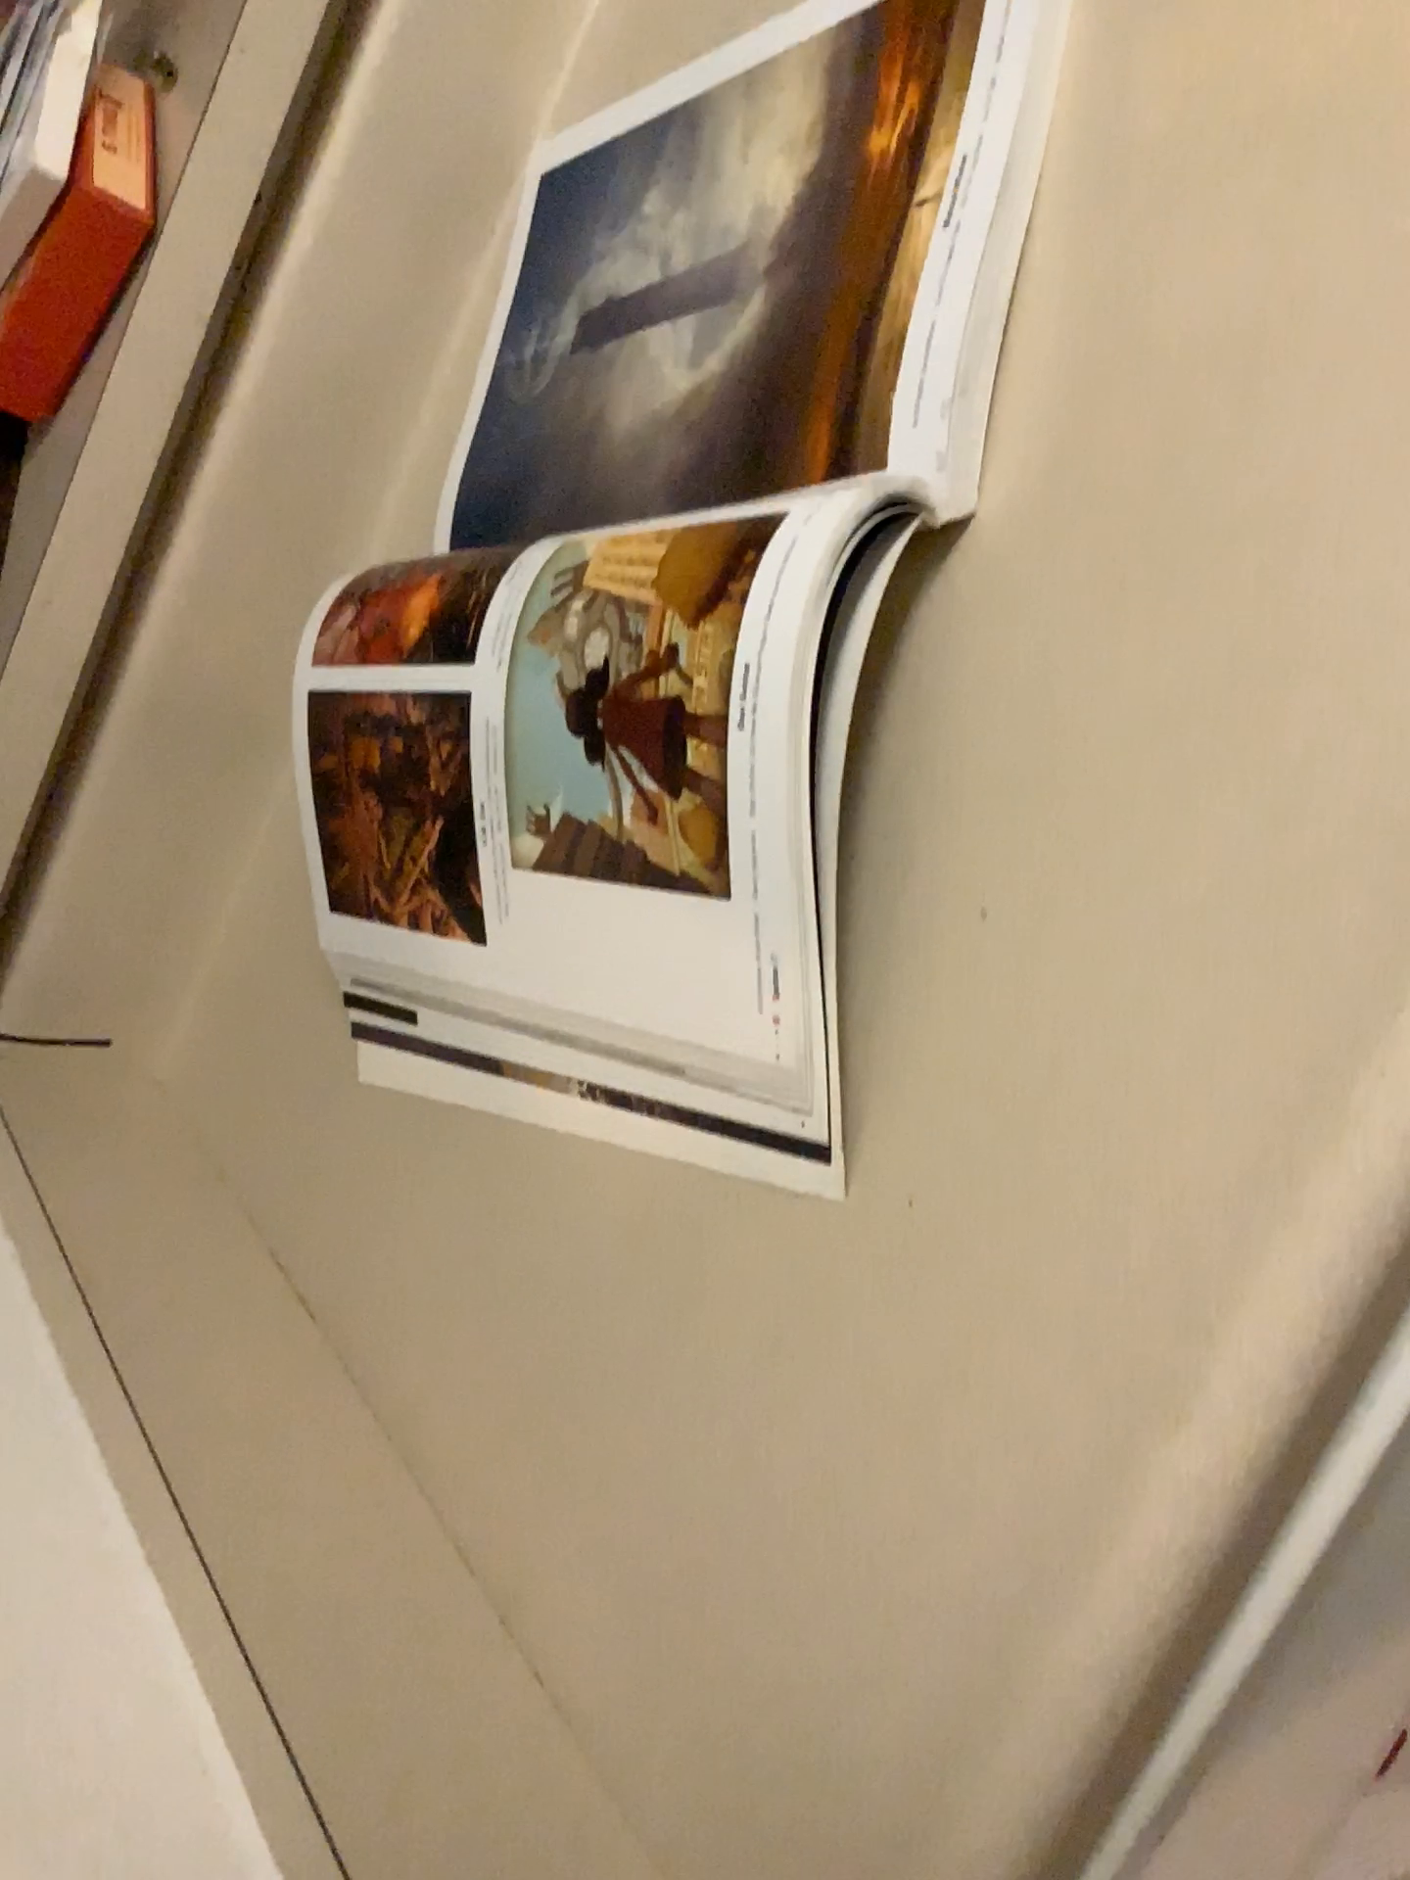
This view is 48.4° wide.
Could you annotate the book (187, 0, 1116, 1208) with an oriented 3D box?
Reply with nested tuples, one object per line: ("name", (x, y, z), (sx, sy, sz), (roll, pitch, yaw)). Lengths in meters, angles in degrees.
("book", (-0.043, -0.157, 0.587), (0.320, 0.070, 0.450), (6, 82, 49))
